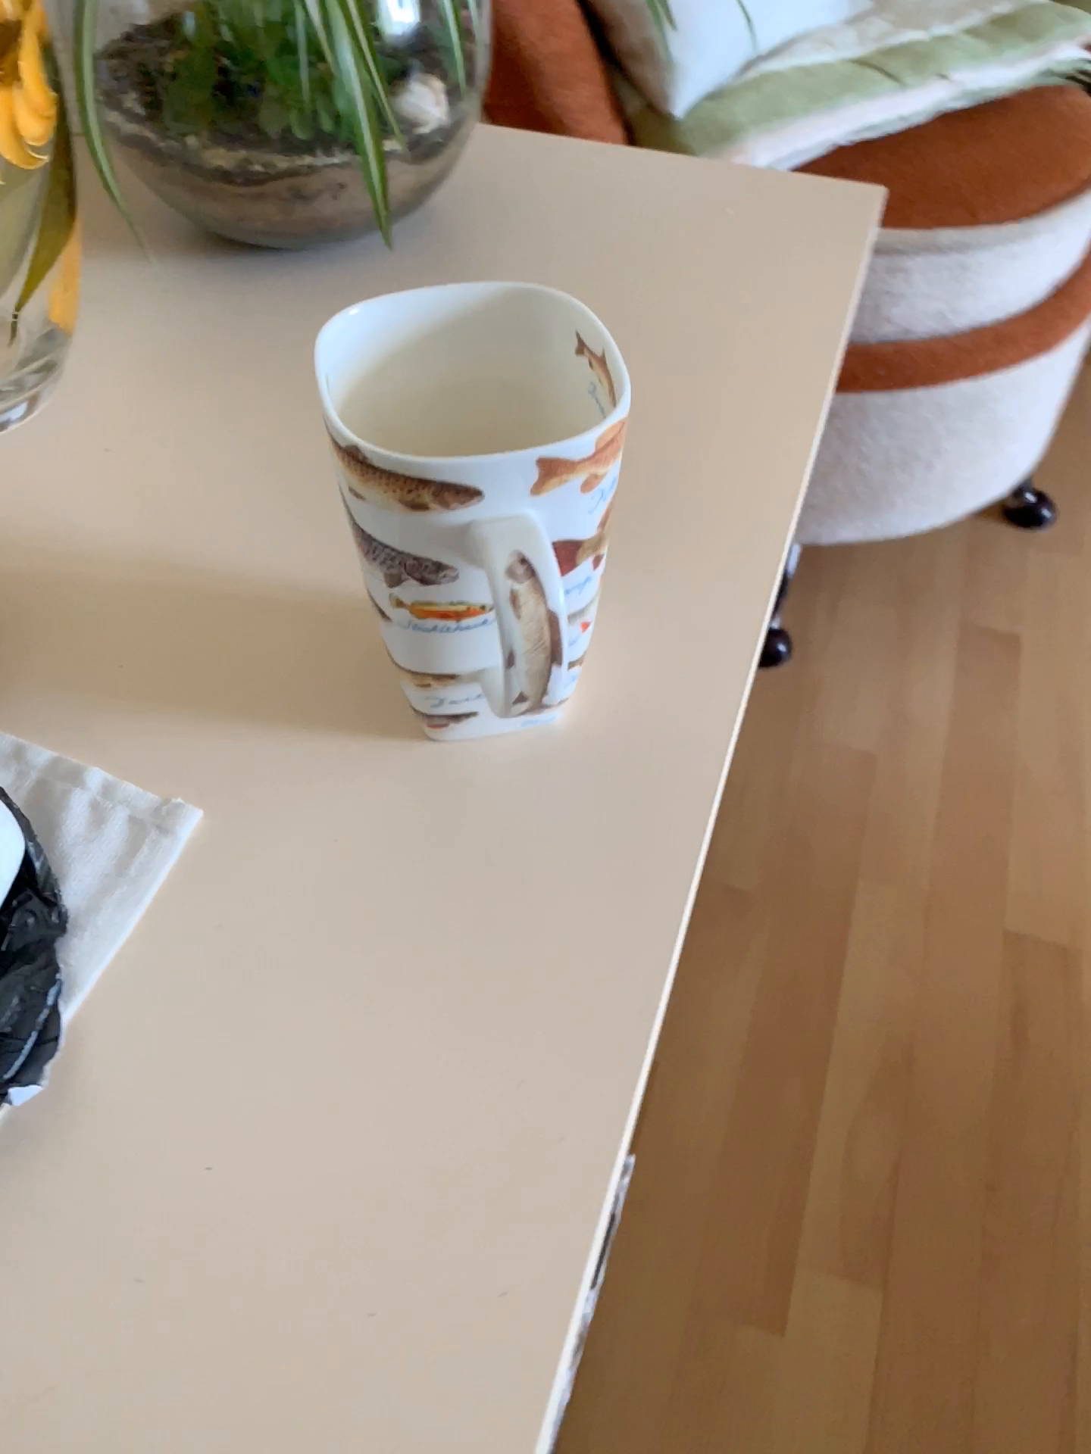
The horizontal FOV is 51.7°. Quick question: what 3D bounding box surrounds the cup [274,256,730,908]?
[{"bbox_3d":[-0.020,-0.046,0.349,0.100,0.129,0.141,-8,50,-8],"label":"cup"}]
